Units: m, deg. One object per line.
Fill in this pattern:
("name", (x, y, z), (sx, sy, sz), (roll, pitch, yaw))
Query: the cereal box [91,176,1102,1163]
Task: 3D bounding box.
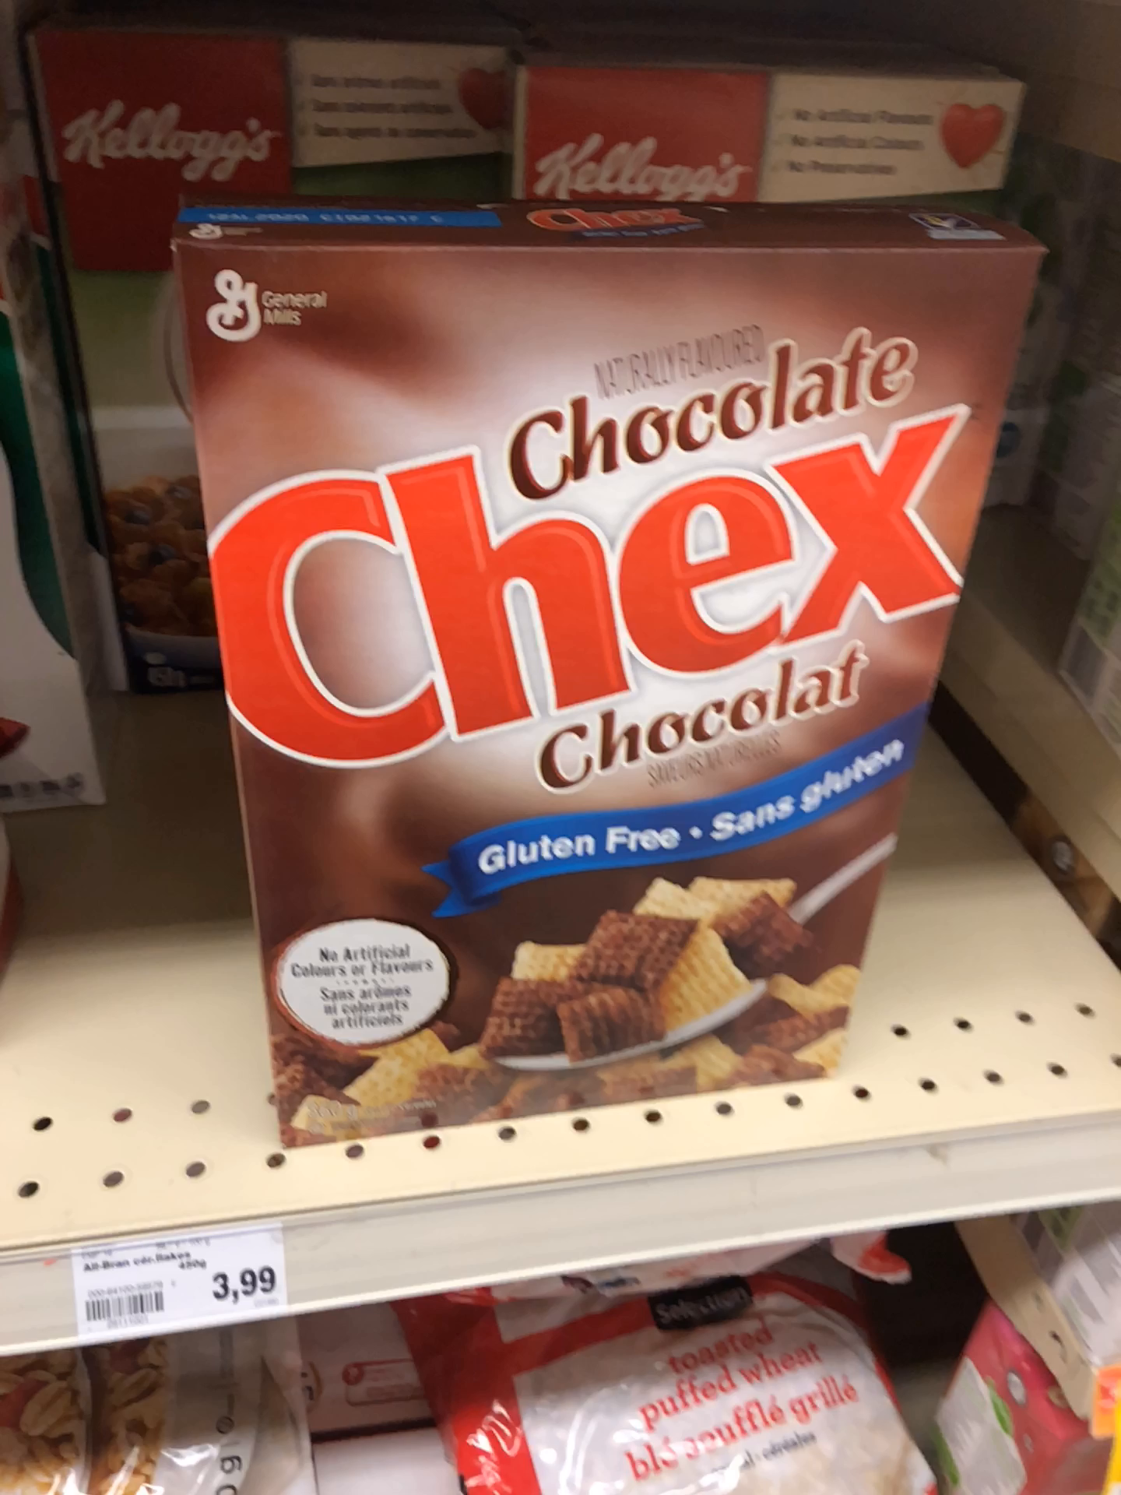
("cereal box", (0.004, -0.005, 0.350), (0.210, 0.278, 0.050), (-4, 35, -10))
